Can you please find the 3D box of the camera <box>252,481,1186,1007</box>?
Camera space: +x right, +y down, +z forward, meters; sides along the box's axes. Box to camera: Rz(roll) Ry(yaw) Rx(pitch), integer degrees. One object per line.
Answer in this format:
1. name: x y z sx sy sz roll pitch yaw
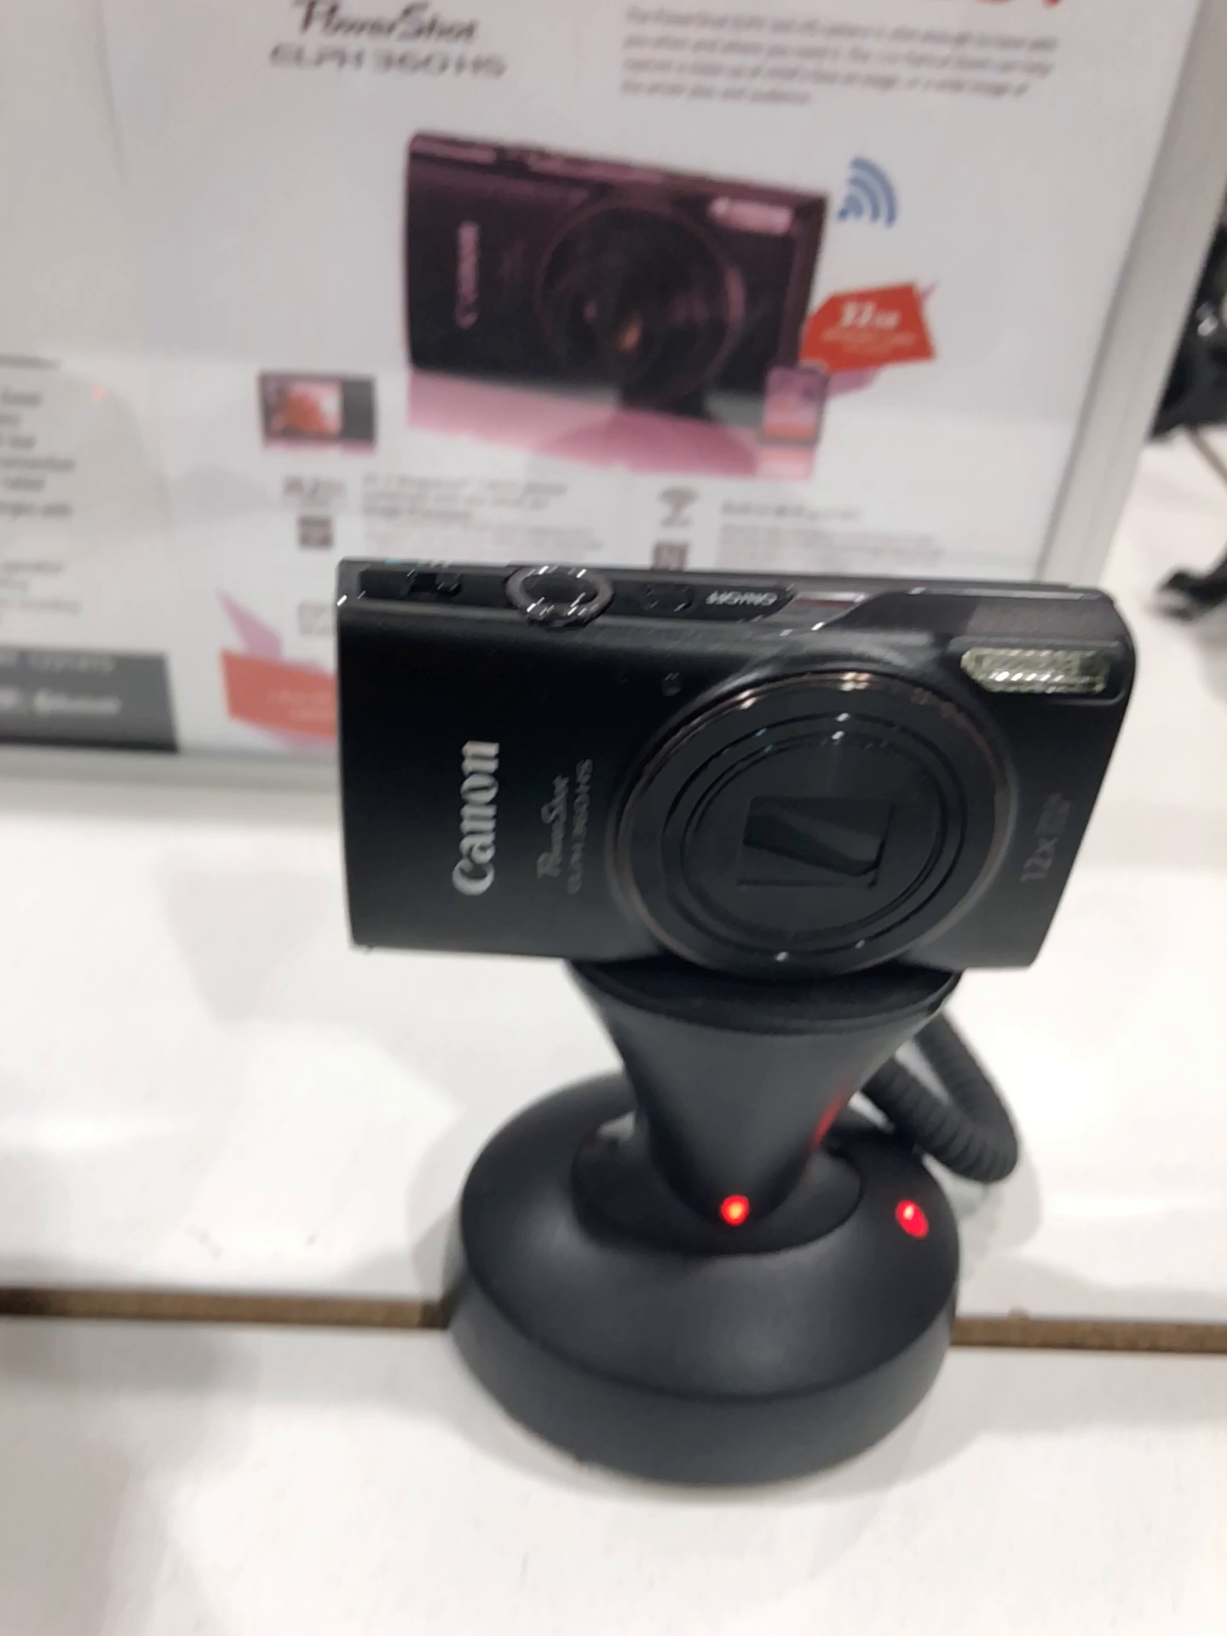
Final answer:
1. camera: 0.011 -0.008 0.192 0.110 0.060 0.030 3 38 -4
